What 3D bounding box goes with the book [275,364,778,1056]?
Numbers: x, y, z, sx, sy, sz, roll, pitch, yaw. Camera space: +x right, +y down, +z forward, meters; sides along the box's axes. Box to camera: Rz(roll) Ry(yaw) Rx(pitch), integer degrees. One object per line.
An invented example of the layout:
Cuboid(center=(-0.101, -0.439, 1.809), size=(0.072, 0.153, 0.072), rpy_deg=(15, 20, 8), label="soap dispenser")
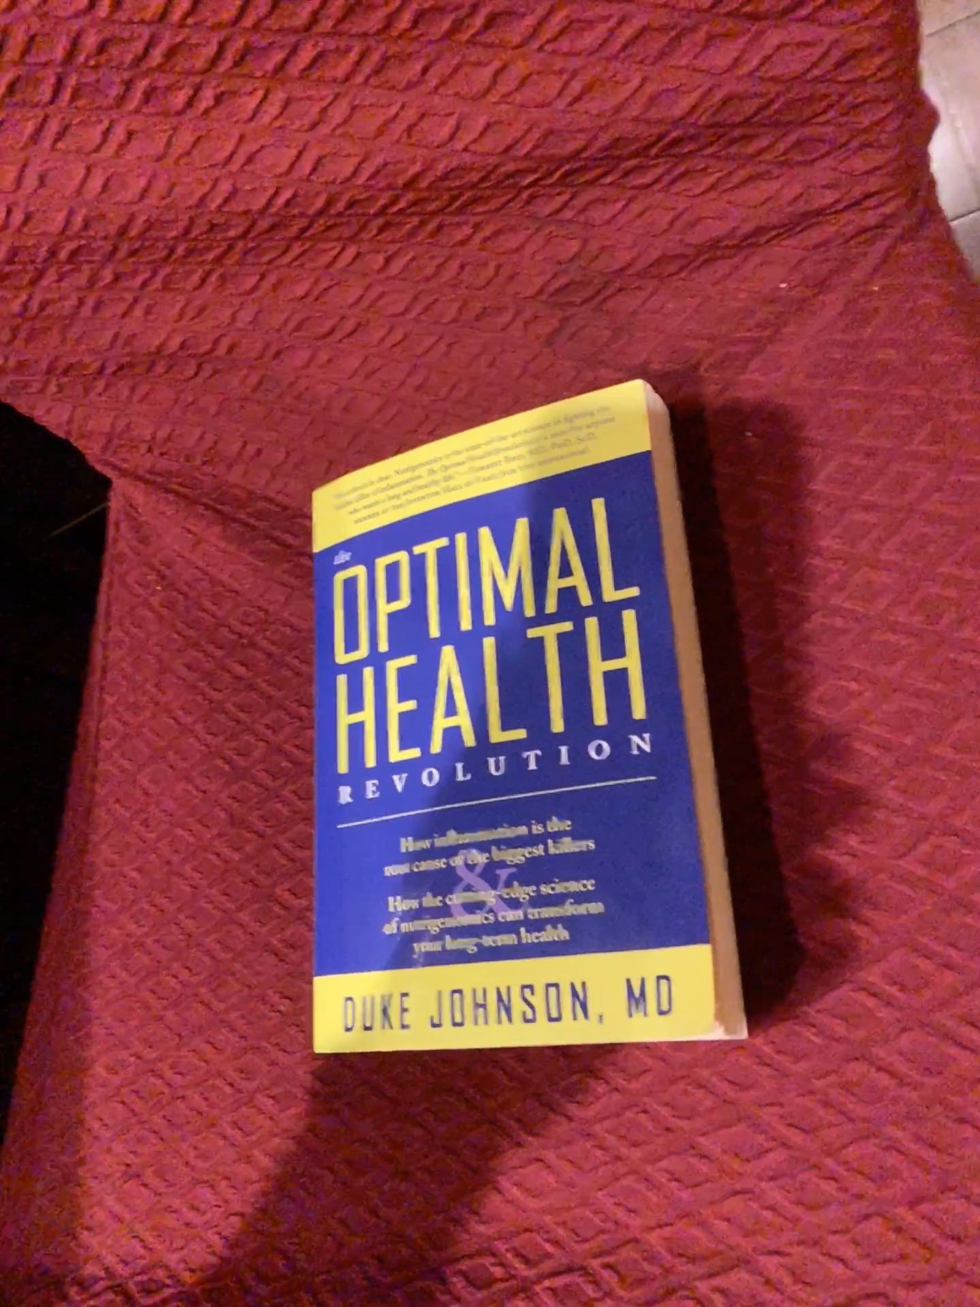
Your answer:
Cuboid(center=(0.004, 0.027, 0.375), size=(0.161, 0.060, 0.222), rpy_deg=(-12, 70, 25), label="book")
